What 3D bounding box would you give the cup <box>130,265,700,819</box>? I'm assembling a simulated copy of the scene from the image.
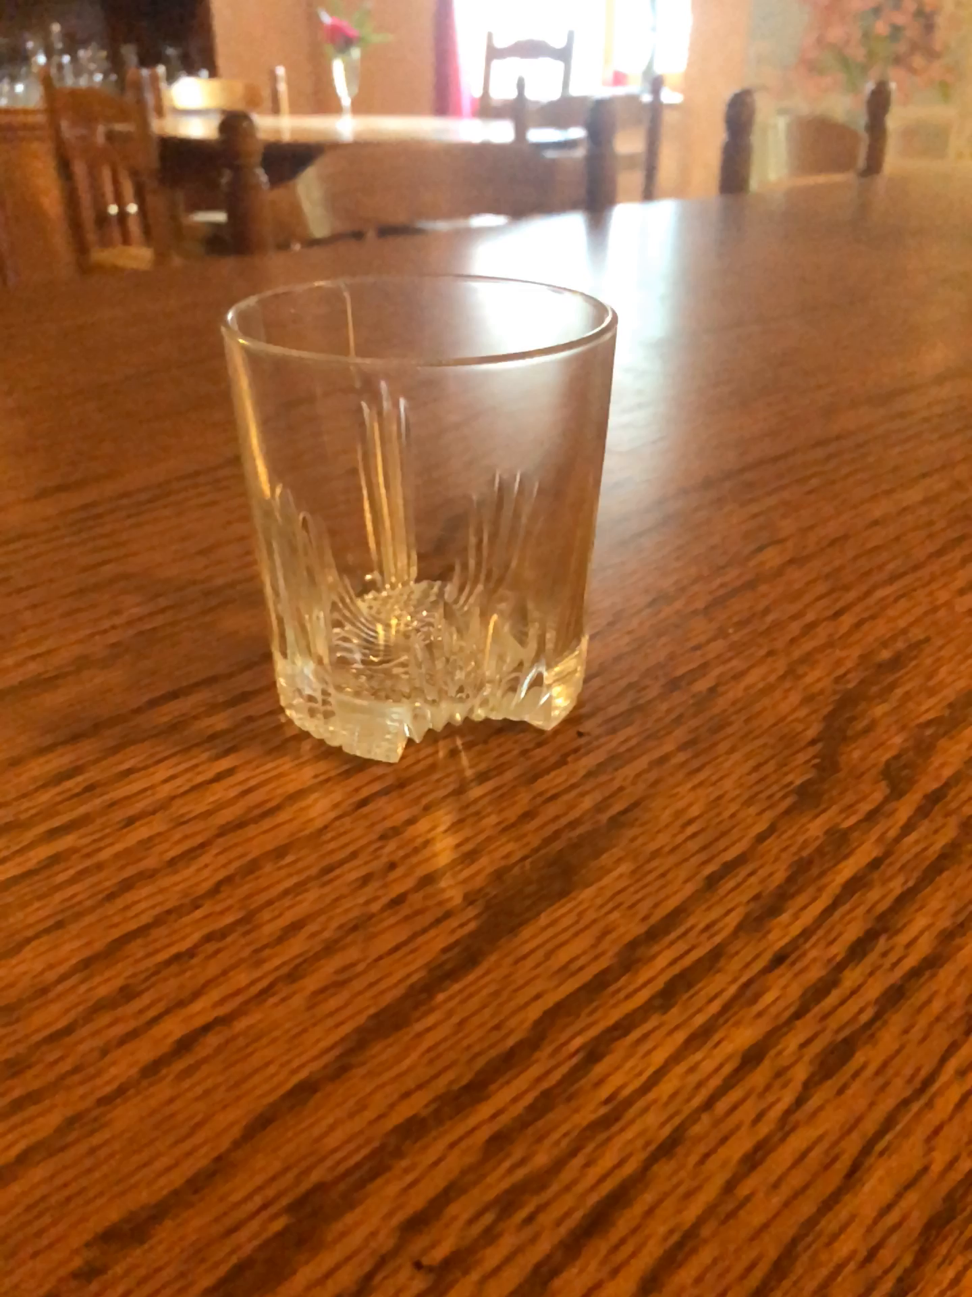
[{"bbox_3d":[-0.013,-0.032,0.240,0.080,0.084,0.085,0,28,0],"label":"cup"}]
